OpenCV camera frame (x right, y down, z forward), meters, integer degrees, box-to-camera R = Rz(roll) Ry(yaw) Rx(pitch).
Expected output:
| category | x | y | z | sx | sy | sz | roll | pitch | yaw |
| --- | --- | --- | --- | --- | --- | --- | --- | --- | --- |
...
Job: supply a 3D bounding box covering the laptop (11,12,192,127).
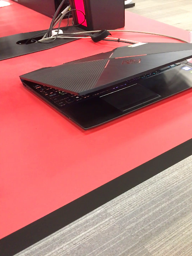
| category | x | y | z | sx | sy | sz | roll | pitch | yaw |
| --- | --- | --- | --- | --- | --- | --- | --- | --- | --- |
| laptop | 0.055 | -0.150 | 0.566 | 0.351 | 0.093 | 0.235 | -27 | 50 | -21 |
